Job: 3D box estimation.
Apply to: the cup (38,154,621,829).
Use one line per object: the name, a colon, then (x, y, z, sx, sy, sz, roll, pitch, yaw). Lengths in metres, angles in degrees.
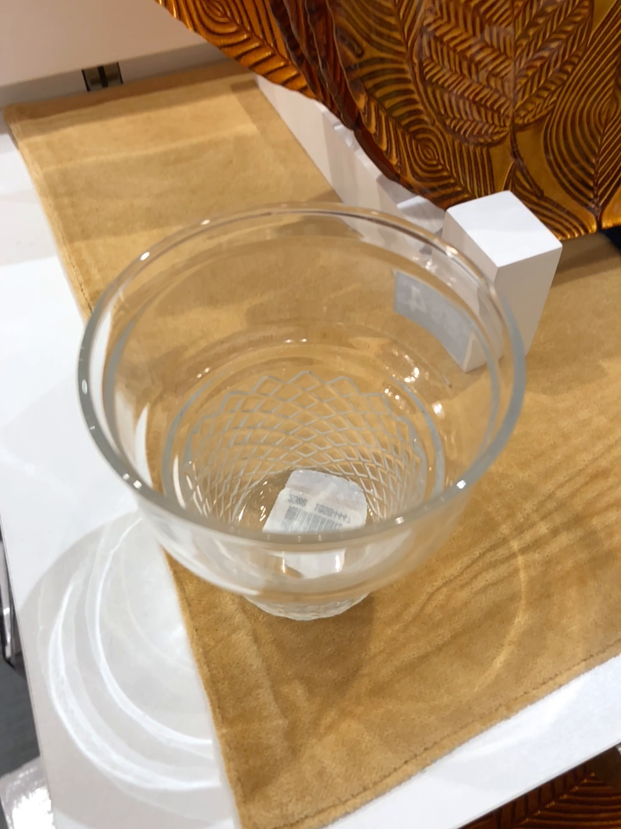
cup: (0.013, 0.012, 0.137, 0.080, 0.070, 0.080, -1, 52, 1)
